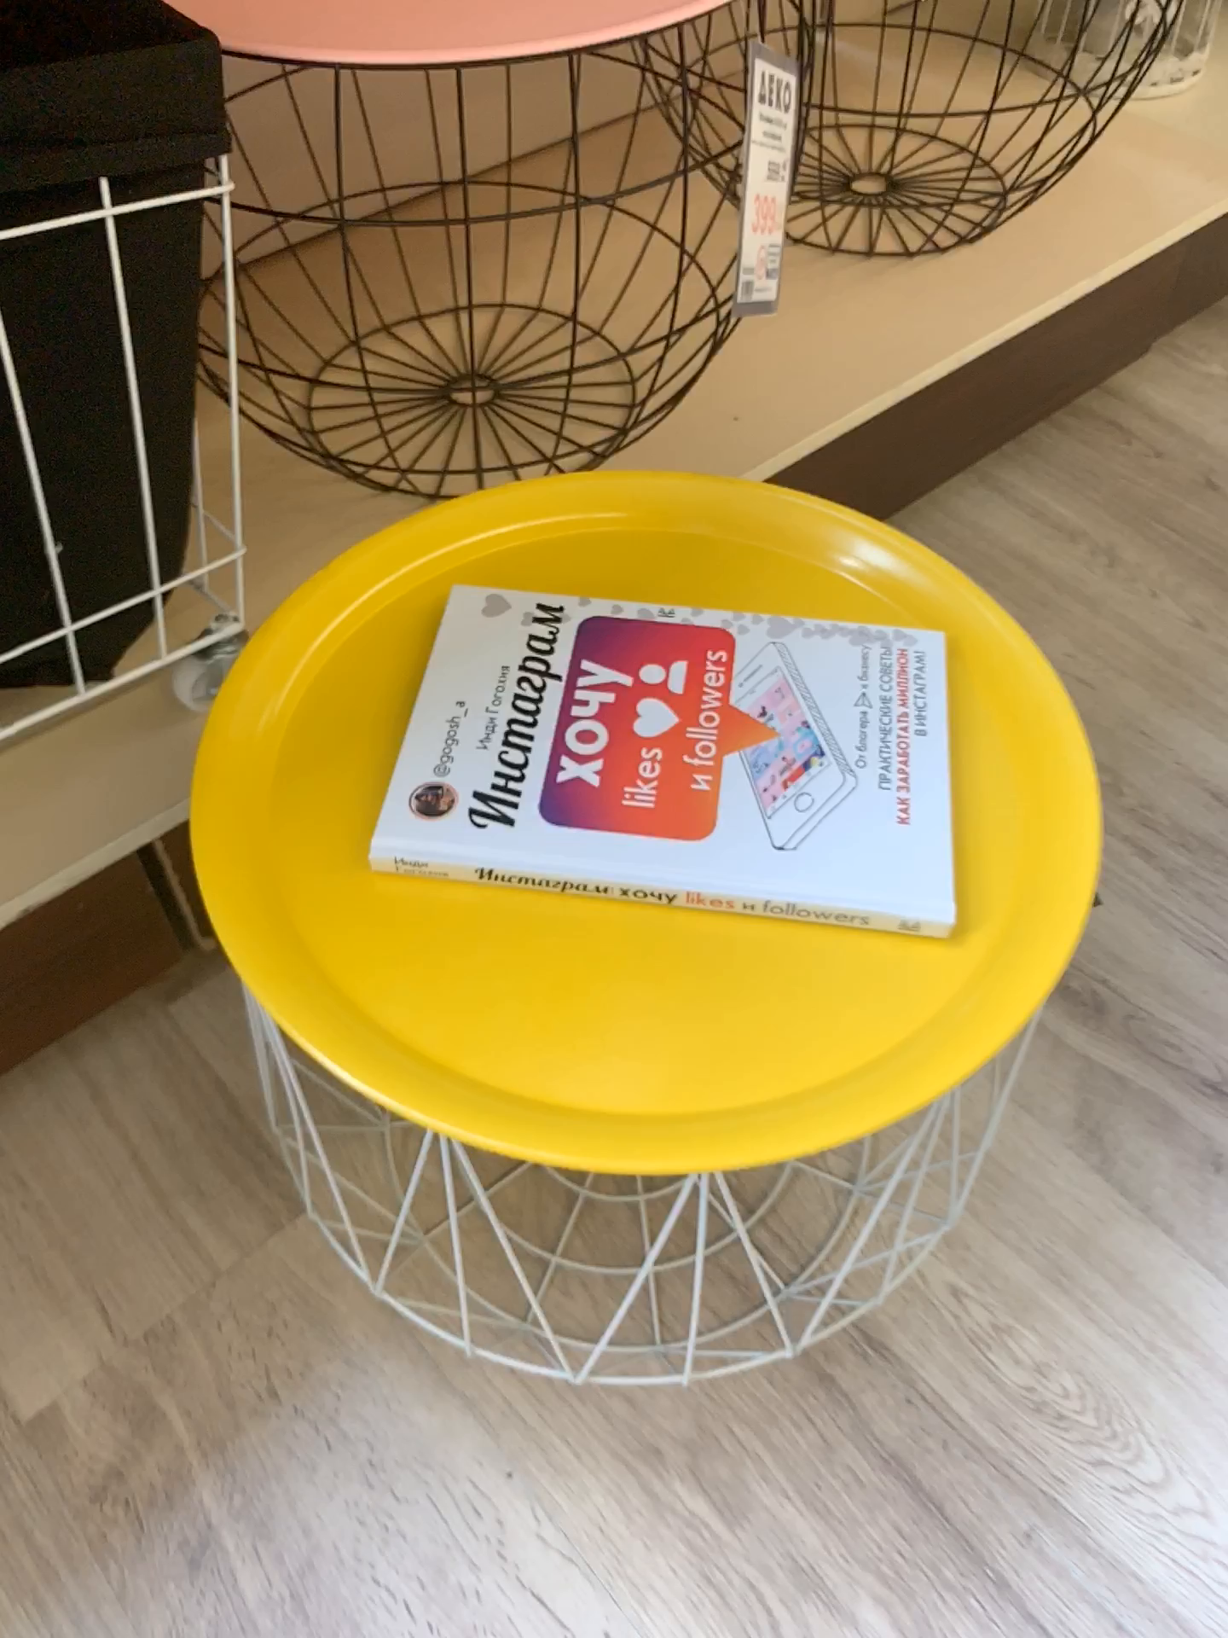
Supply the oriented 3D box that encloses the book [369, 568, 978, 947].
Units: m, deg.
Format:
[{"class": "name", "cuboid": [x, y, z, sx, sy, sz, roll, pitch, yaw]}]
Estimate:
[{"class": "book", "cuboid": [0.032, -0.035, 0.558, 0.240, 0.020, 0.171, 6, 52, 4]}]
